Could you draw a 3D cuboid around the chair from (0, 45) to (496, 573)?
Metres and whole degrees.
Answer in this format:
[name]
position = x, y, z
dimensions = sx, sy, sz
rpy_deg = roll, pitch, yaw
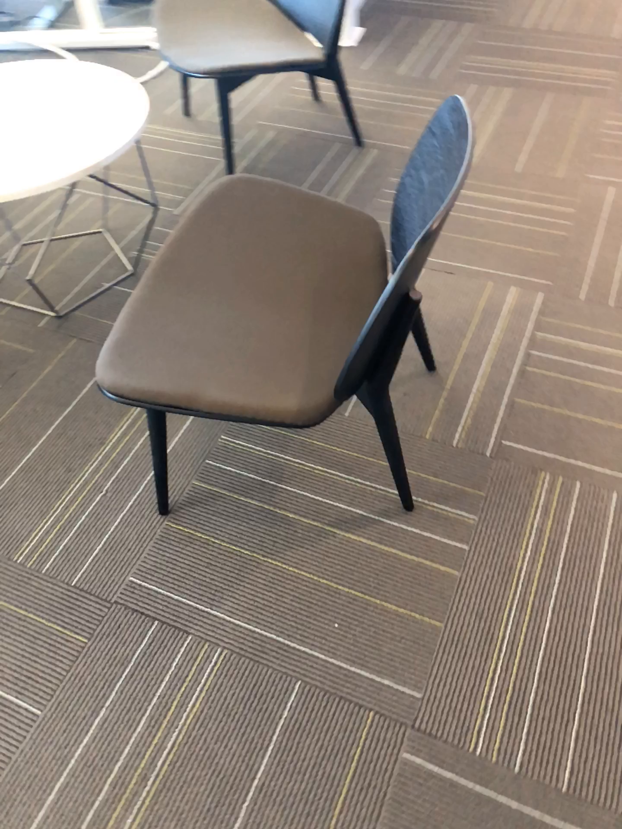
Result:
[chair]
position = -0.064, -0.214, 1.380
dimensions = 0.740, 0.737, 0.672
rpy_deg = 6, 49, 10
